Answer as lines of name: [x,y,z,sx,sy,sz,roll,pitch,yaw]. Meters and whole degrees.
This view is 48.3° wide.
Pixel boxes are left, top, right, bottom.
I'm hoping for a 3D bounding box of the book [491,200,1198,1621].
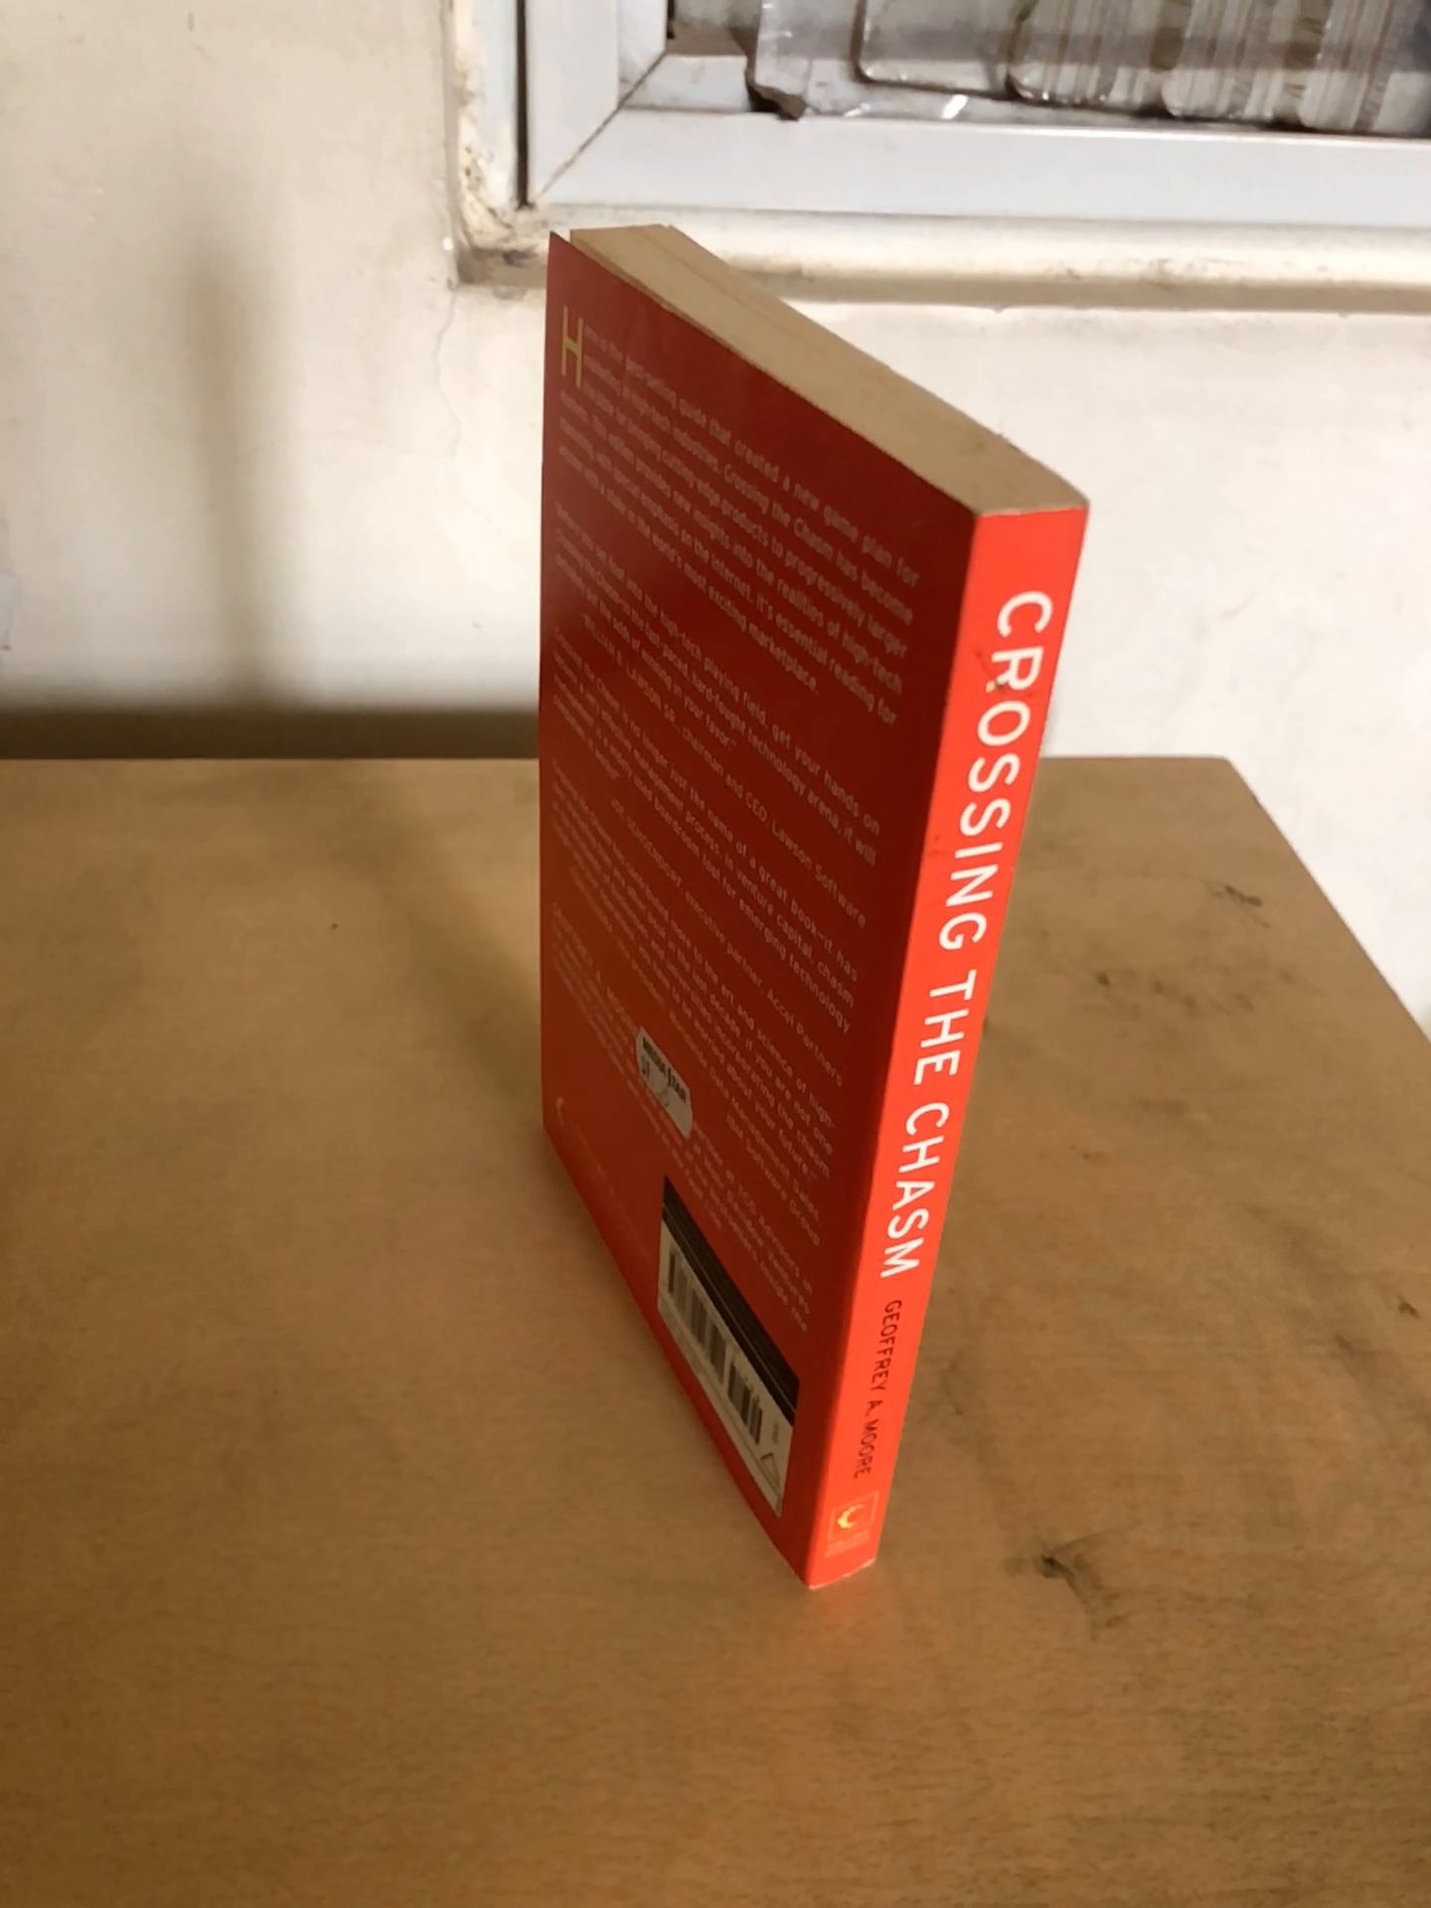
book: [0.001,-0.010,0.288,0.030,0.199,0.161,-12,39,-21]
